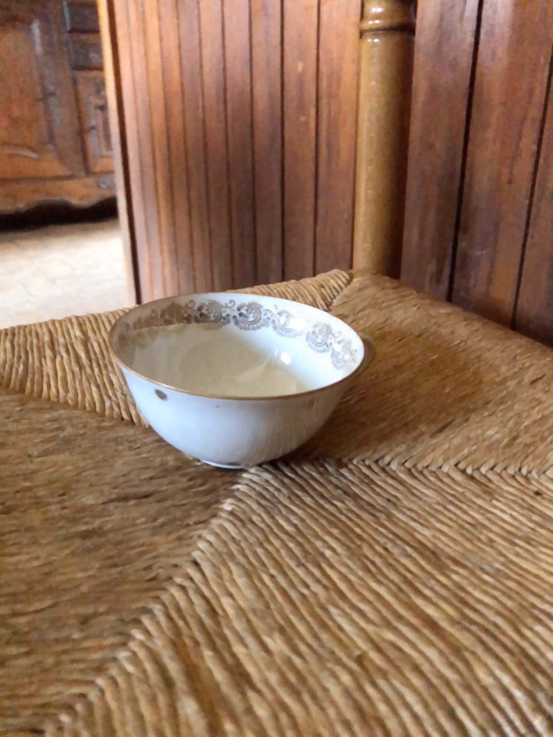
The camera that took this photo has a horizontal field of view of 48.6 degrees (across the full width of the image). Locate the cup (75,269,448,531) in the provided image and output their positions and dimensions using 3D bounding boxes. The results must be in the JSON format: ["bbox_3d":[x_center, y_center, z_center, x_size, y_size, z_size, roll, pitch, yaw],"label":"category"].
[{"bbox_3d":[-0.012,0.001,0.281,0.130,0.050,0.110,-13,29,-25],"label":"cup"}]
